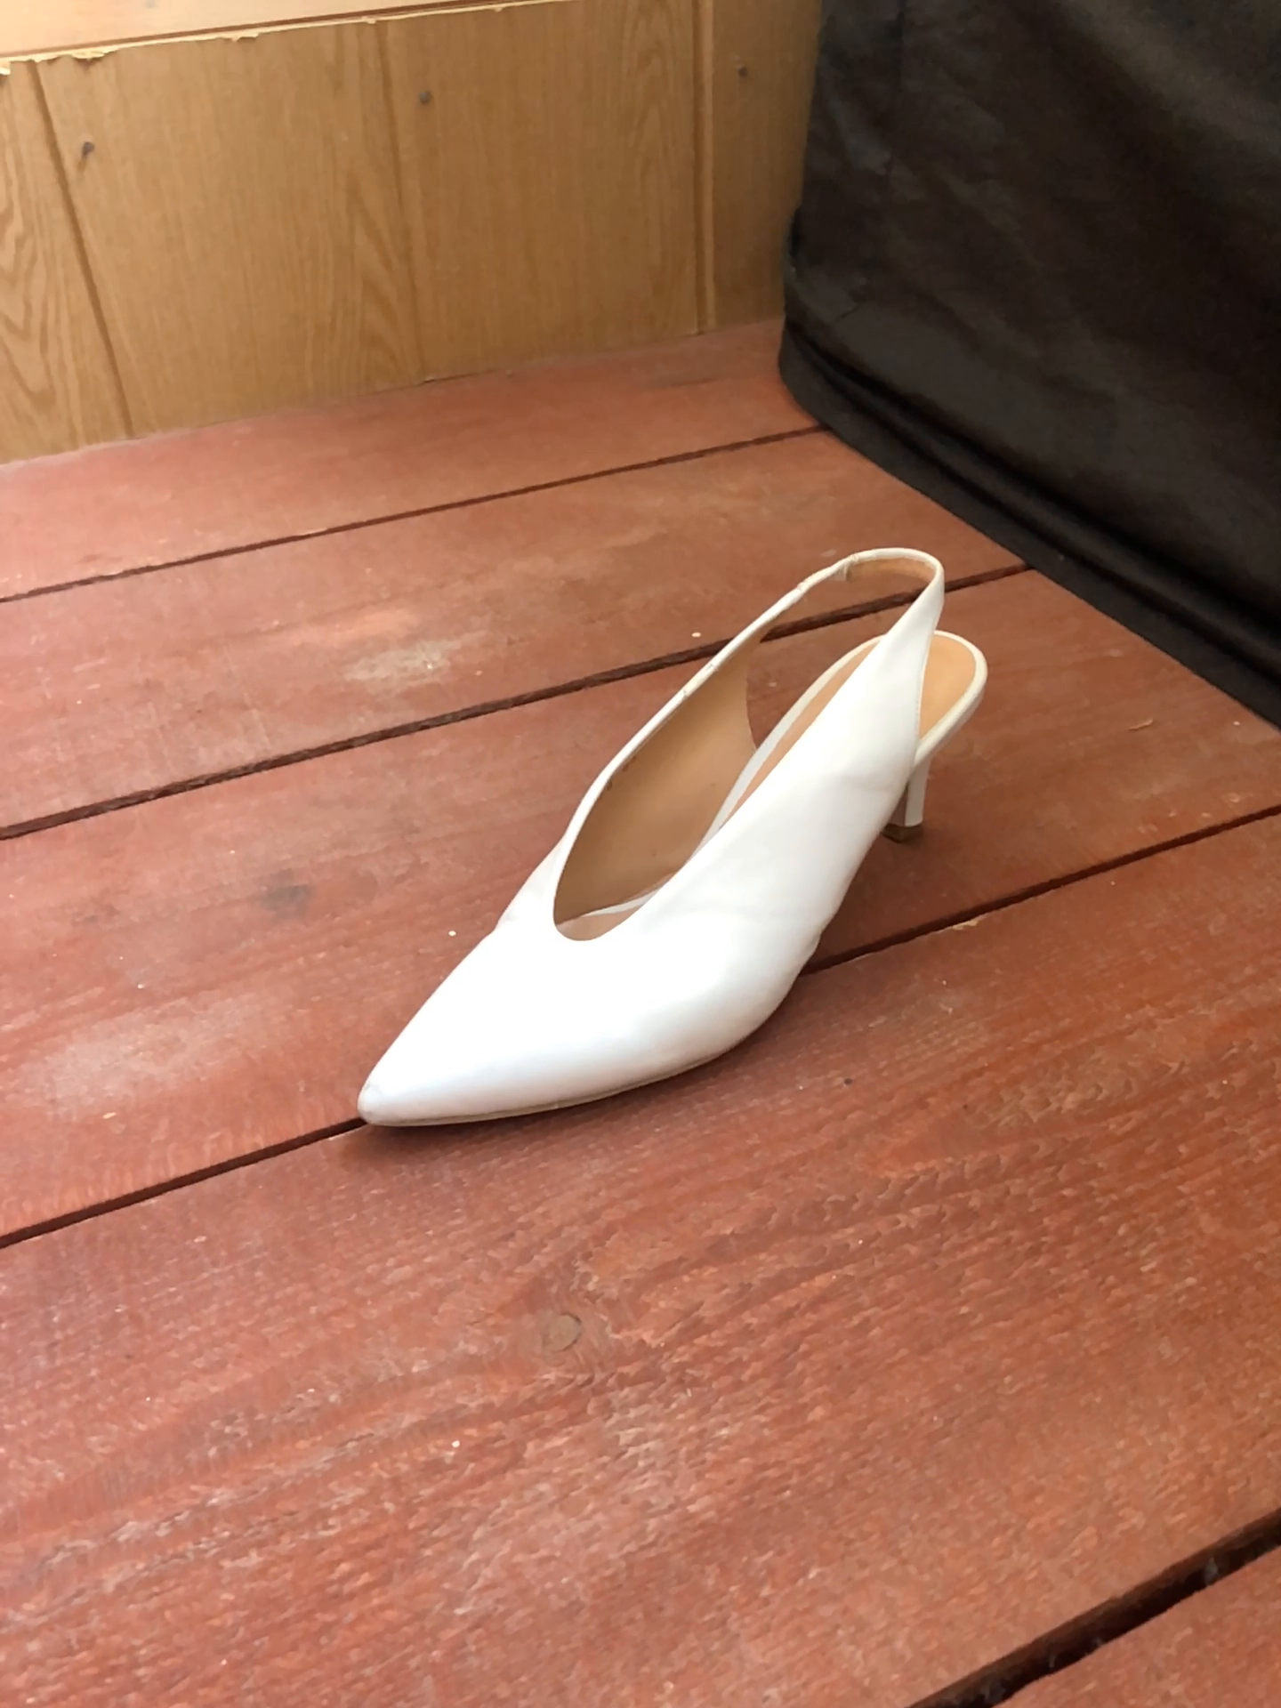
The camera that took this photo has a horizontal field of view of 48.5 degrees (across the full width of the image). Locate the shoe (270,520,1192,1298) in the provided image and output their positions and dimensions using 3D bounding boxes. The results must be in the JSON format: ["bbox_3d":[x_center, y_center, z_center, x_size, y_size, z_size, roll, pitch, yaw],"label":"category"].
[{"bbox_3d":[0.035,-0.003,0.396,0.240,0.080,0.100,-31,45,-30],"label":"shoe"}]
